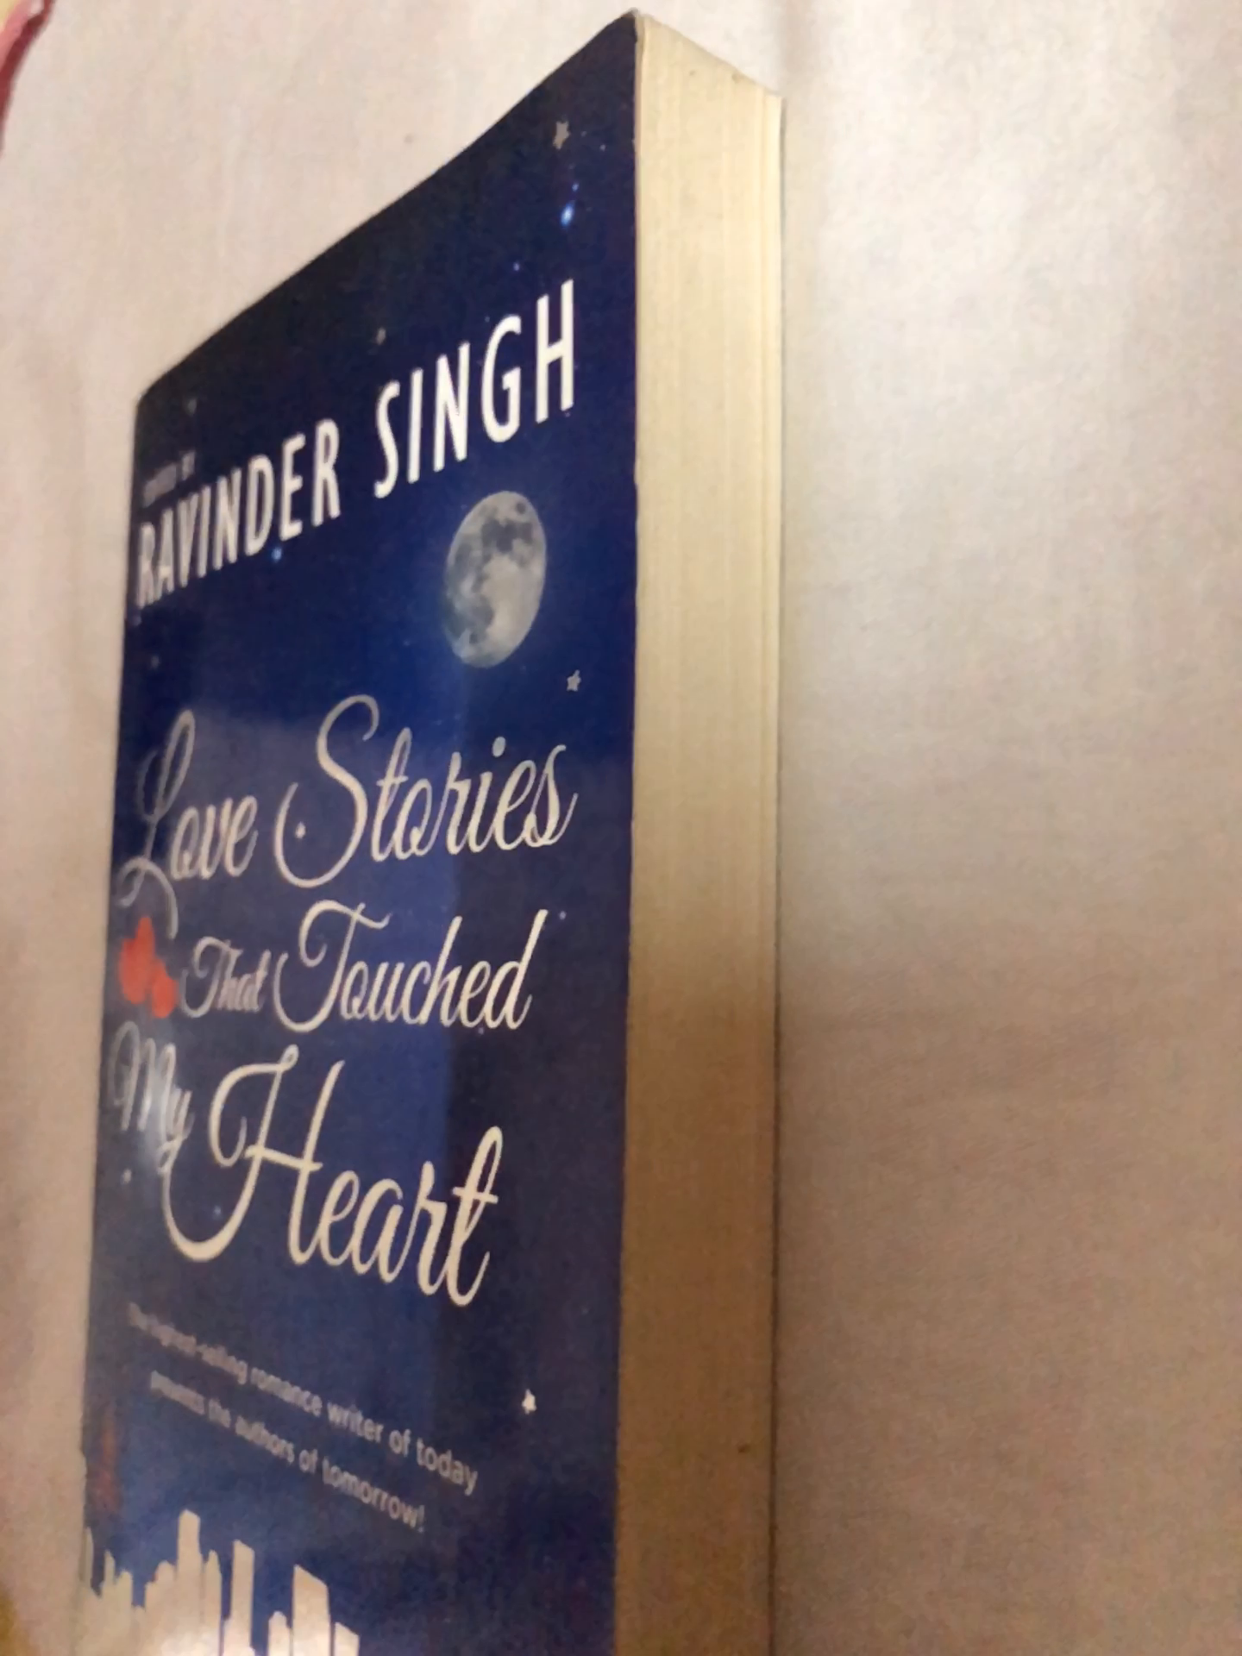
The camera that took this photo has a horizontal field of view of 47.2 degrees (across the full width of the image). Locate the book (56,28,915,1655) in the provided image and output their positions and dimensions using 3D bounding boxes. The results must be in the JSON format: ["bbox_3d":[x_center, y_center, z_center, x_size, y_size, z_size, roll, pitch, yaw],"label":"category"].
[{"bbox_3d":[-0.028,0.036,0.180,0.131,0.030,0.210,-2,85,51],"label":"book"}]
